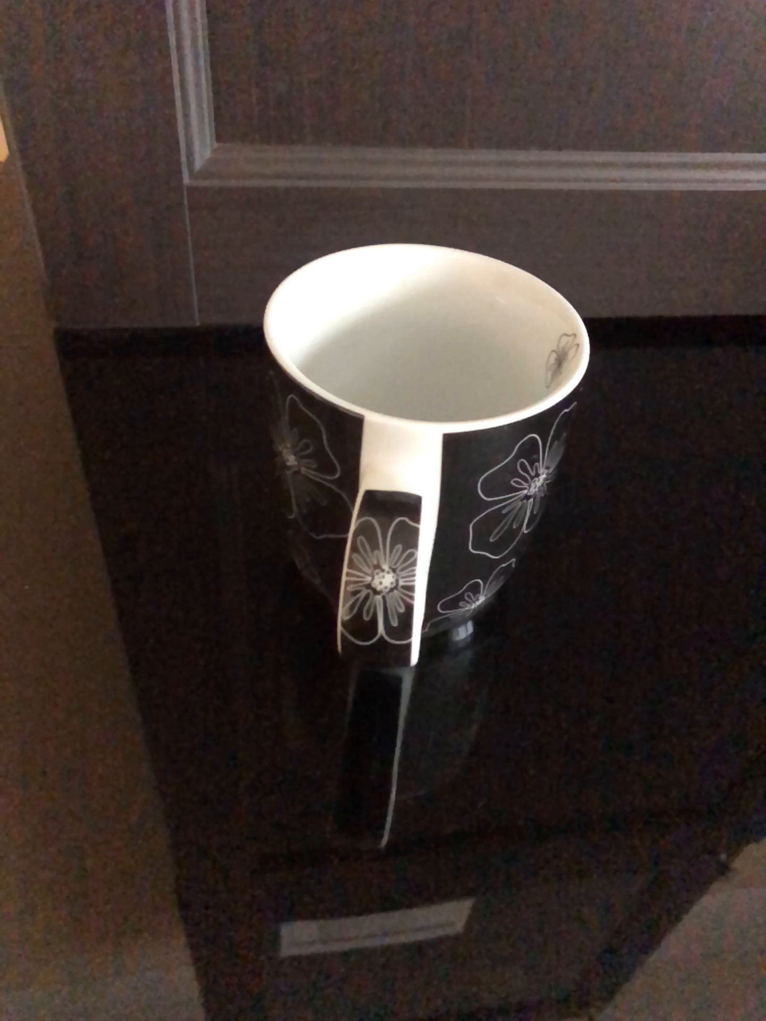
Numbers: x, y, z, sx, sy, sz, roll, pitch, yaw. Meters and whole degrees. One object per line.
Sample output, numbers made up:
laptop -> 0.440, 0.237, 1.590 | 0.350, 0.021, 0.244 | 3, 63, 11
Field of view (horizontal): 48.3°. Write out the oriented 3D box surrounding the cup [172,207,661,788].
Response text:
cup -> 0.008, -0.008, 0.231 | 0.090, 0.089, 0.121 | 6, 44, 1
